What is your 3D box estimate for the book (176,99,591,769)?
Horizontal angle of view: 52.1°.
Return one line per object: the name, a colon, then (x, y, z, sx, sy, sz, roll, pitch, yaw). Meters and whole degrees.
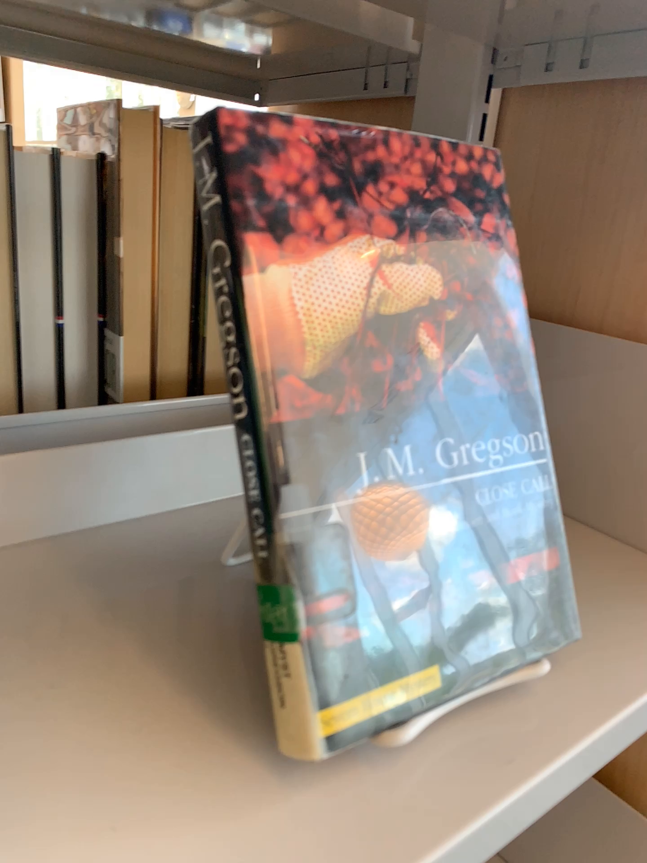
book: (0.030, -0.007, 0.253, 0.140, 0.208, 0.030, -8, -2, -33)
